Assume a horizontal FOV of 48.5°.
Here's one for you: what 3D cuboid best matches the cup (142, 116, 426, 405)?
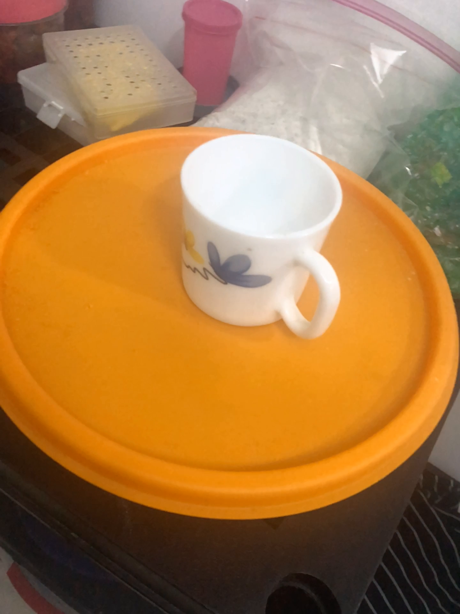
[{"bbox_3d":[0.018,-0.026,0.249,0.080,0.070,0.100,-26,60,-27],"label":"cup"}]
